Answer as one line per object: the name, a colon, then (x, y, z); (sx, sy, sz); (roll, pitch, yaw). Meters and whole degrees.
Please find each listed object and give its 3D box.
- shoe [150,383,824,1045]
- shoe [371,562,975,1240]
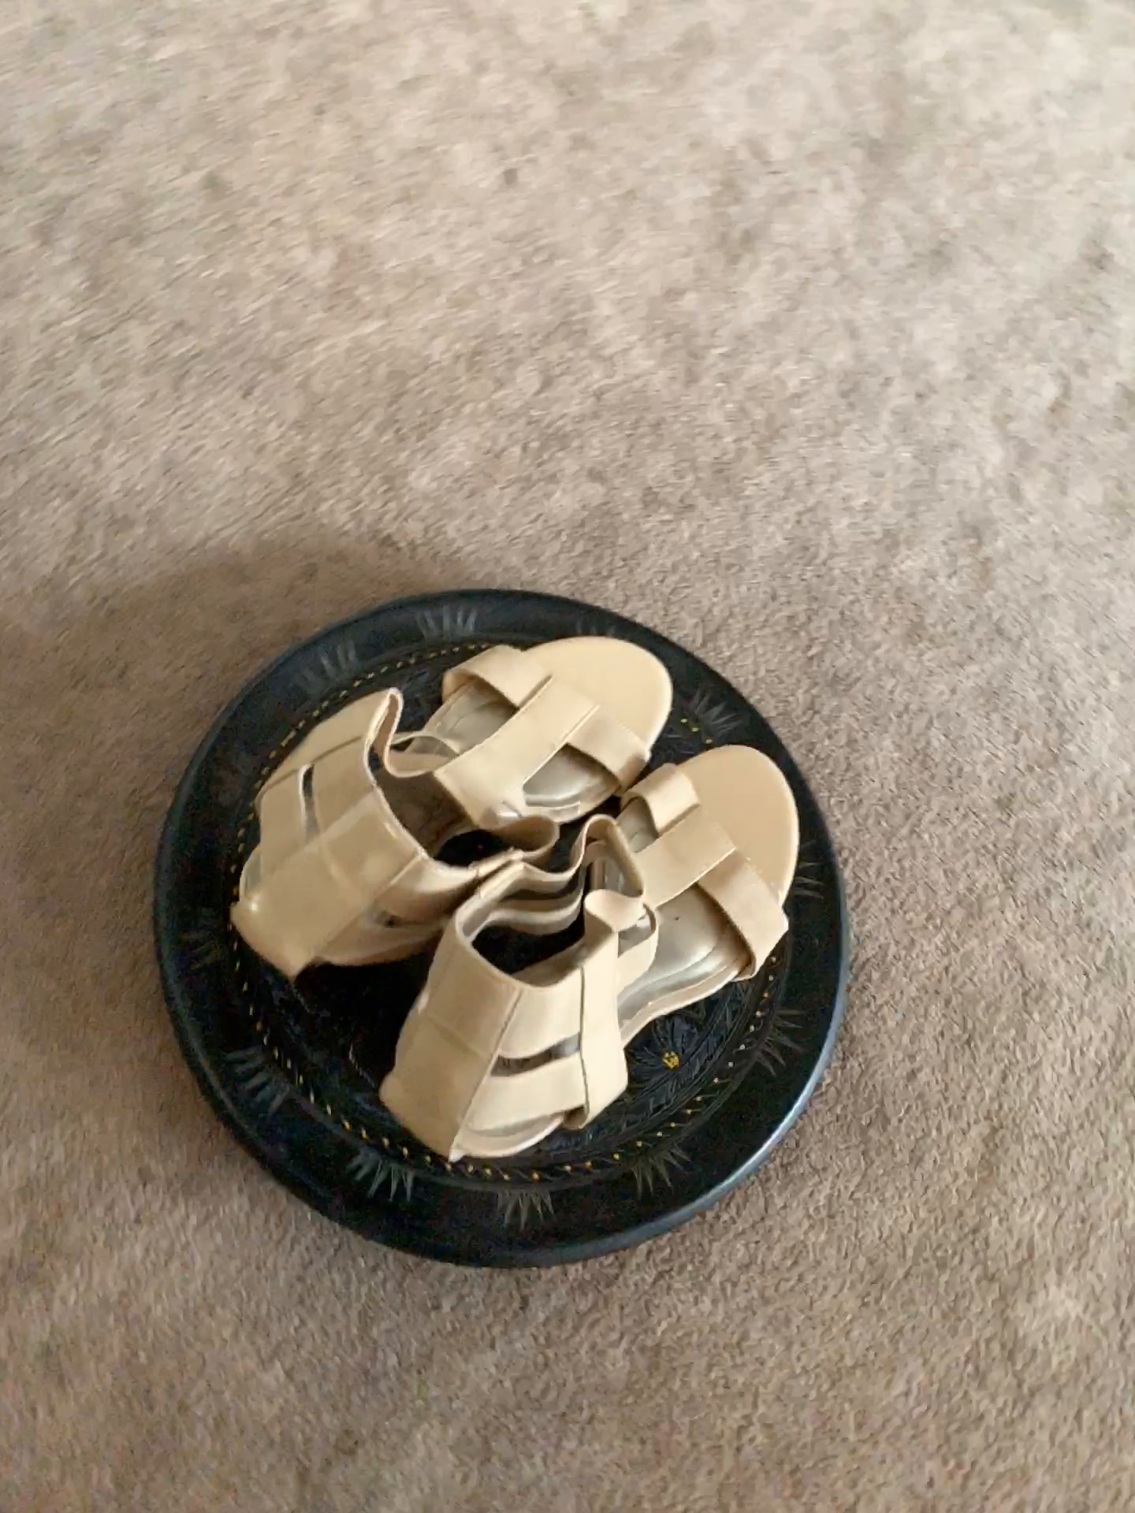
shoe: (-0.024, -0.019, 0.430); (0.100, 0.099, 0.221); (42, 65, 10)
shoe: (0.038, 0.050, 0.425); (0.090, 0.099, 0.221); (38, 64, 8)
